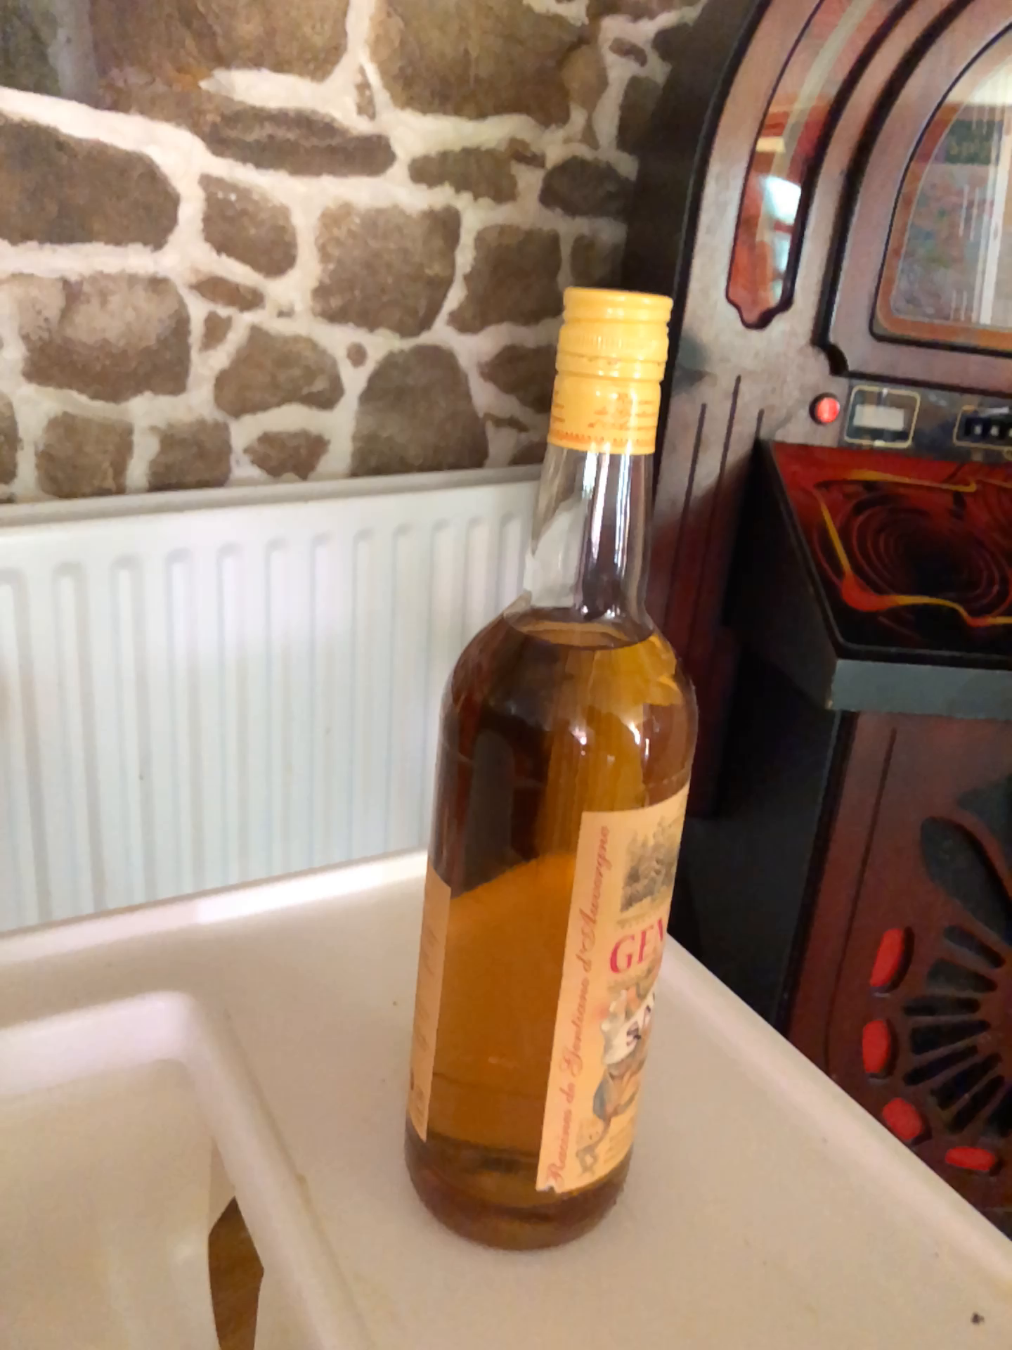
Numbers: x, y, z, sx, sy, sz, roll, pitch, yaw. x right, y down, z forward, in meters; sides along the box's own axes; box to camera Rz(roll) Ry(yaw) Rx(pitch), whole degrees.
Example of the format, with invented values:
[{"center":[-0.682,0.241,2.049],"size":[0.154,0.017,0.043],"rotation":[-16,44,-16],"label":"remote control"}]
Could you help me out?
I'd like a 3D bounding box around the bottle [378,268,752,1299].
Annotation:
[{"center":[0.016,0.035,0.349],"size":[0.080,0.299,0.090],"rotation":[7,19,10],"label":"bottle"}]
